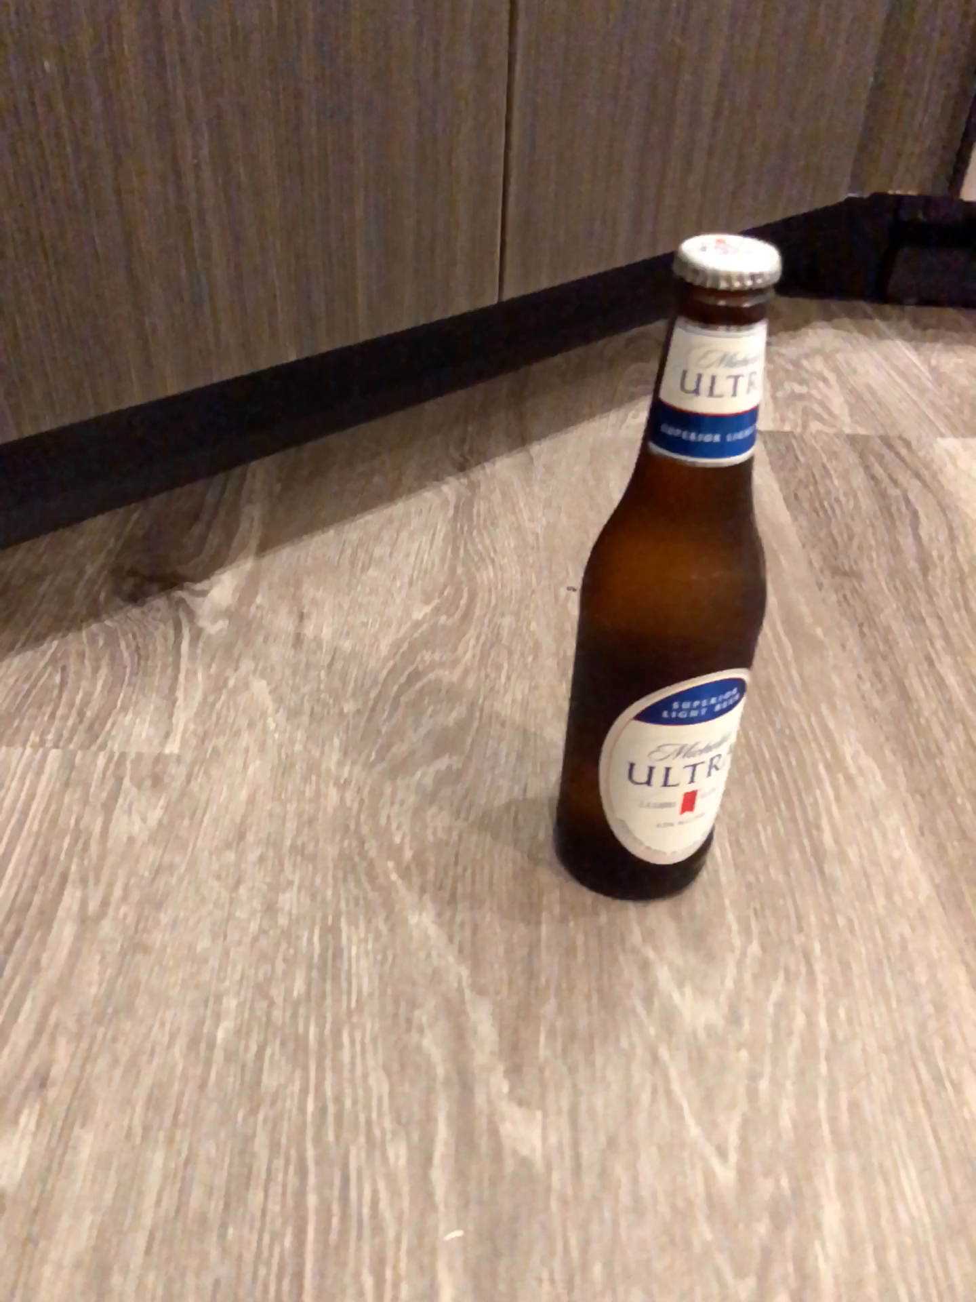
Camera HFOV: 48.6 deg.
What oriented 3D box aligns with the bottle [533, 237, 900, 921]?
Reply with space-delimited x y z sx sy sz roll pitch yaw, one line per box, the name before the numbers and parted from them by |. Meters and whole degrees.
bottle | 0.058 -0.012 0.338 0.060 0.209 0.060 2 37 -1
